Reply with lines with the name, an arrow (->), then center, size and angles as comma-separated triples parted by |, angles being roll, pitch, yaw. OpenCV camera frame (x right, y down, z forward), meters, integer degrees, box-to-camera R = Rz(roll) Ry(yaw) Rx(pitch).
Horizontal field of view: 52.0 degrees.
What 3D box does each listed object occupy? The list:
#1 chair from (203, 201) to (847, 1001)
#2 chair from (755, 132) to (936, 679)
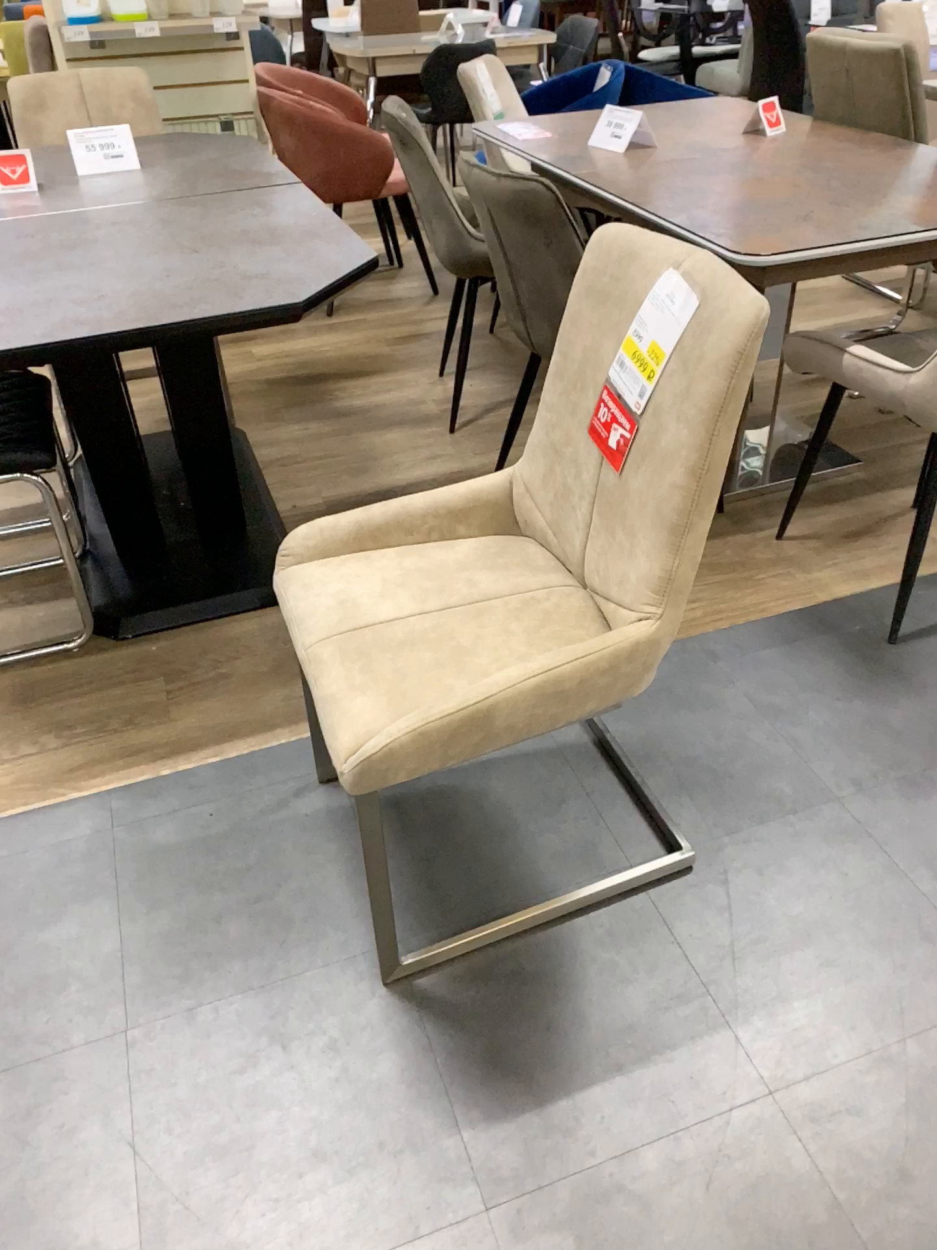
chair -> 0.040, -0.041, 1.358 | 0.583, 0.887, 0.512 | -14, 37, -15
chair -> 1.020, -0.460, 1.940 | 0.480, 0.842, 0.627 | -13, 37, -14
